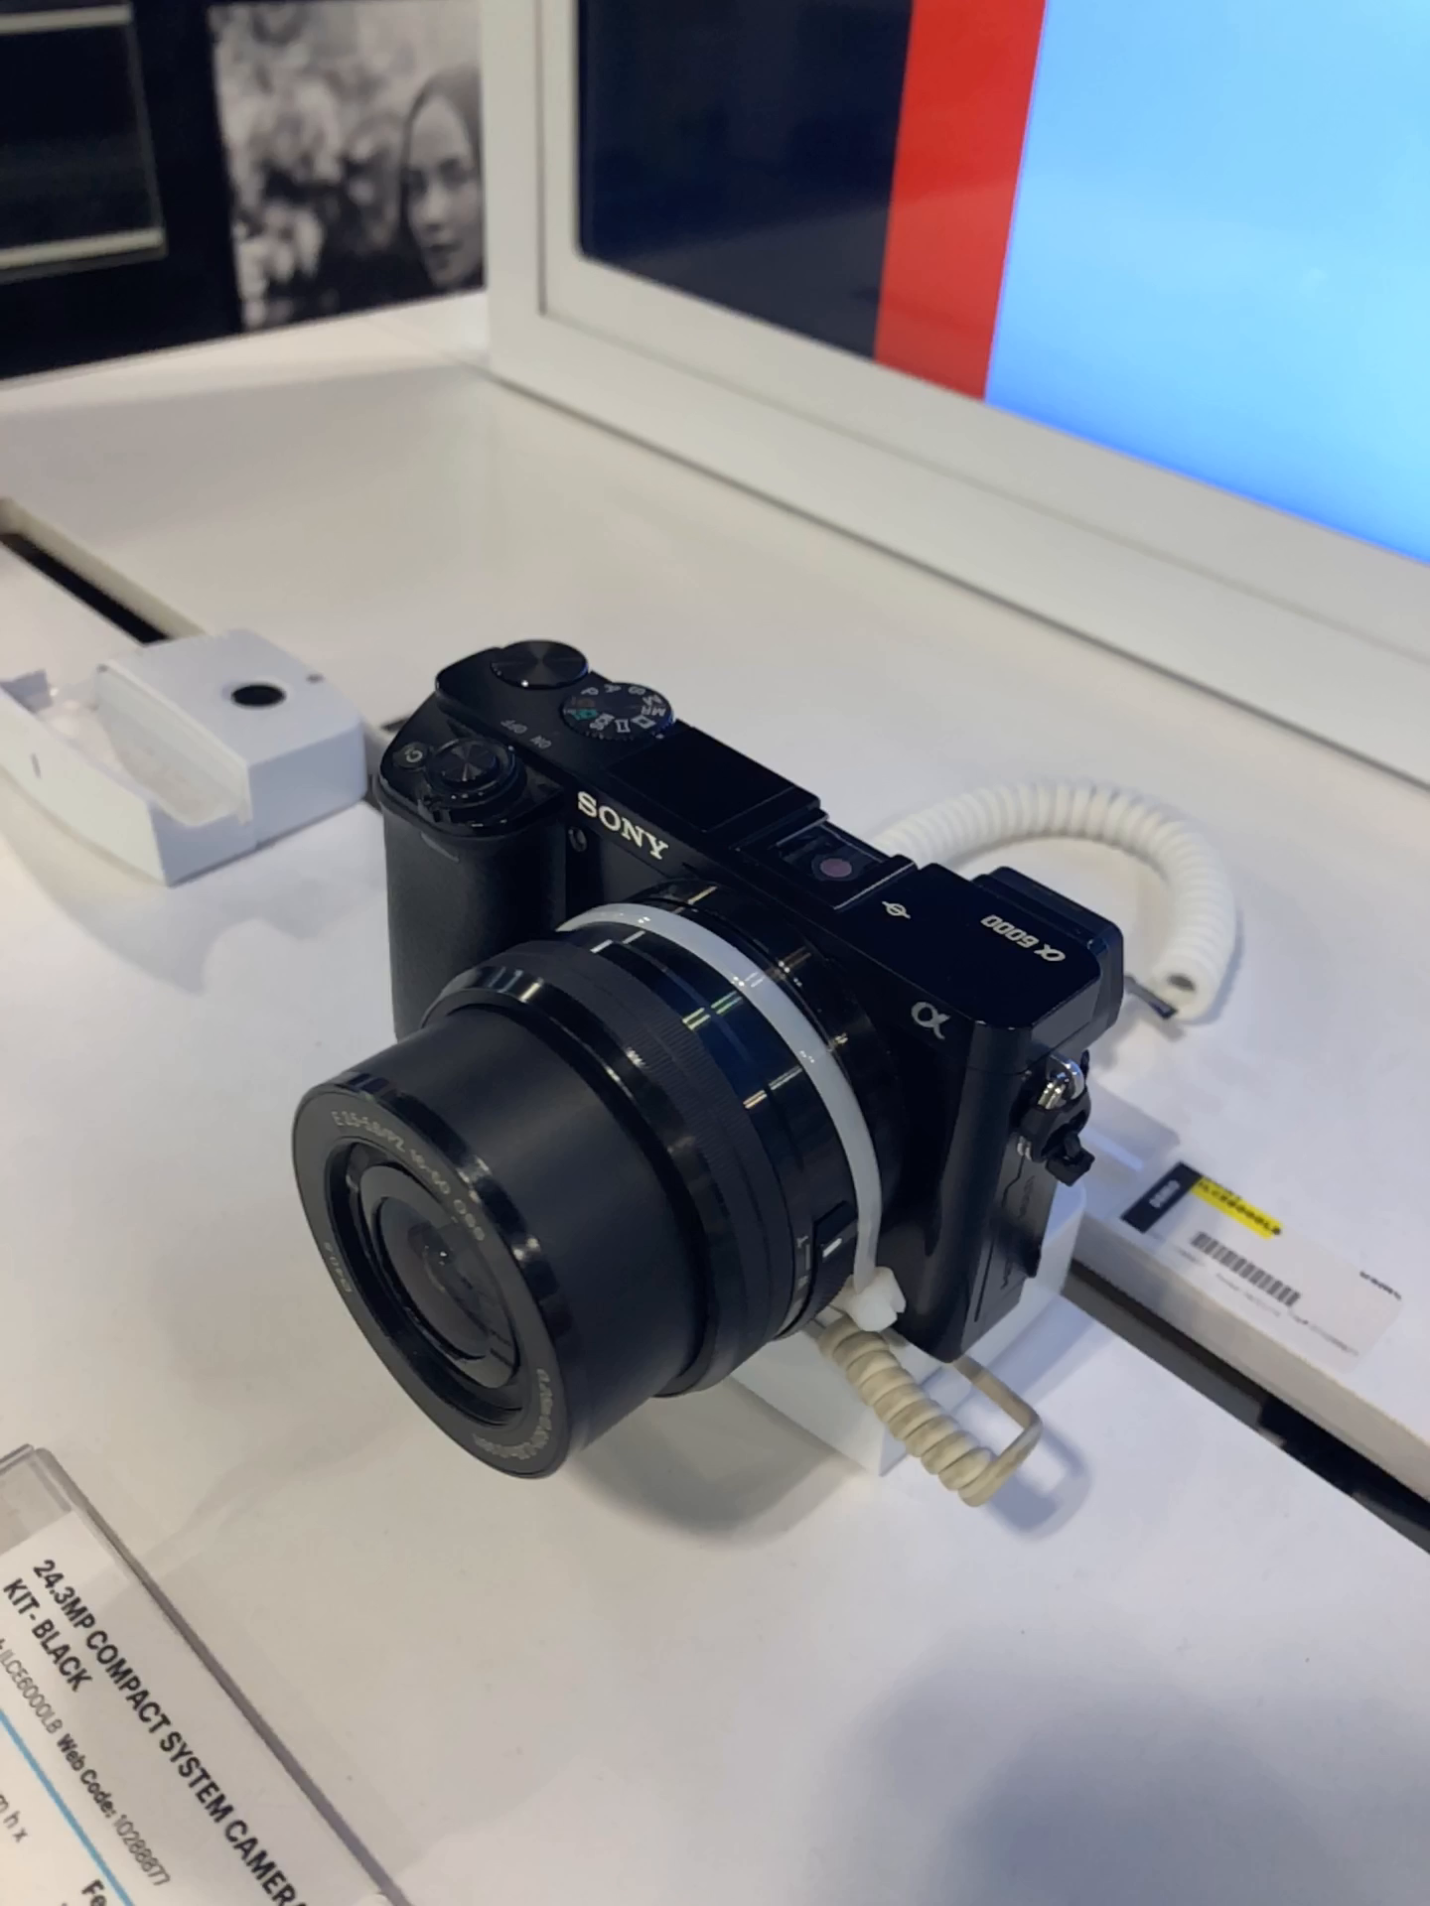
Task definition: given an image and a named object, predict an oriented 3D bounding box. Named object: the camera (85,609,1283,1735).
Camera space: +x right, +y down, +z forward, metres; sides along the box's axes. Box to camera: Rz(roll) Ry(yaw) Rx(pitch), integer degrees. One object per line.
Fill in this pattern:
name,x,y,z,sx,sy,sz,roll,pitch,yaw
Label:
camera,-0.008,0.018,0.237,0.130,0.070,0.100,32,45,31
